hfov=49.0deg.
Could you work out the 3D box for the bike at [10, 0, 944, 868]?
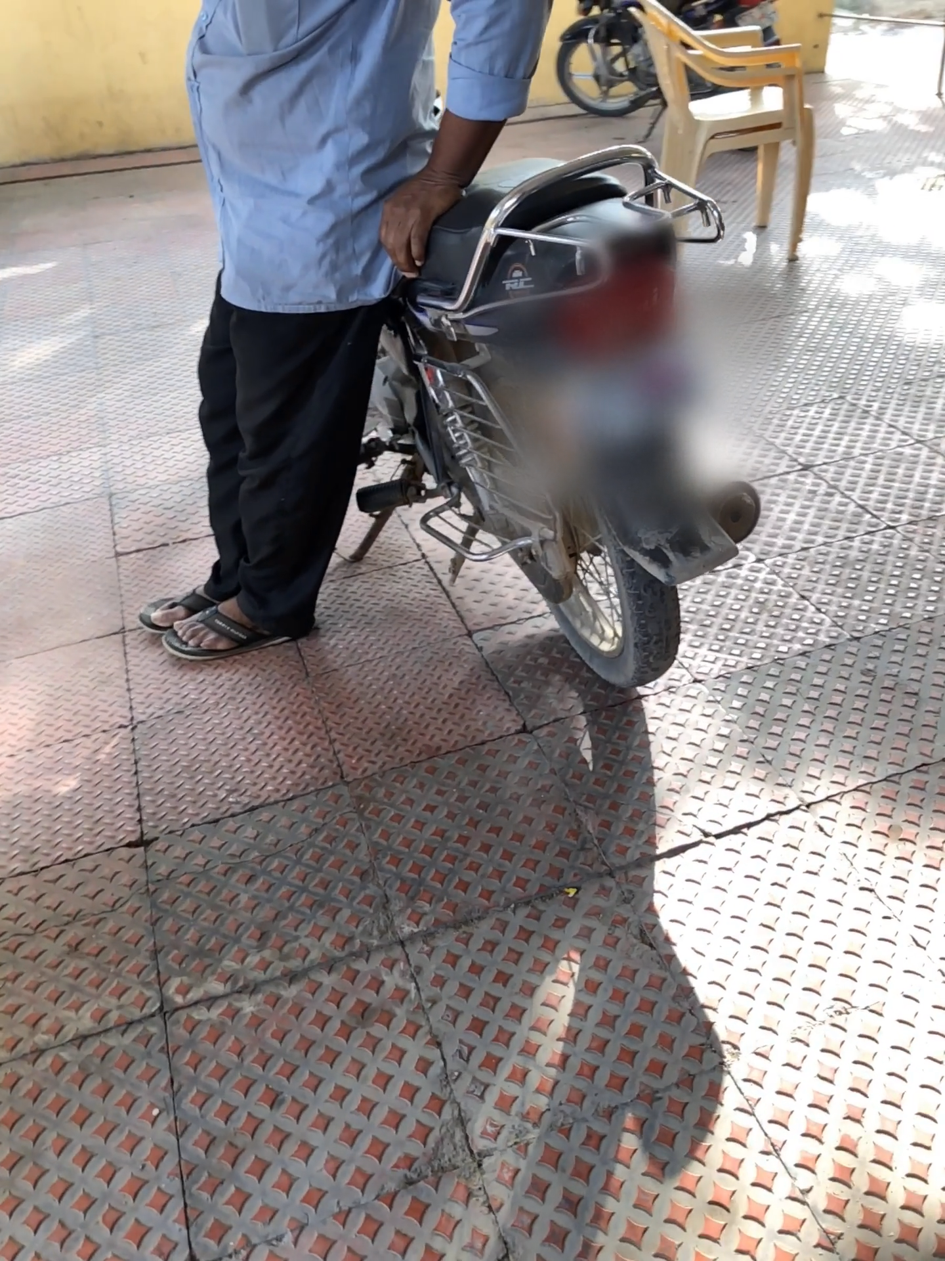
[{"bbox_3d":[-0.107,-0.583,1.703,0.819,1.063,1.304,-17,39,-18],"label":"bike"}]
